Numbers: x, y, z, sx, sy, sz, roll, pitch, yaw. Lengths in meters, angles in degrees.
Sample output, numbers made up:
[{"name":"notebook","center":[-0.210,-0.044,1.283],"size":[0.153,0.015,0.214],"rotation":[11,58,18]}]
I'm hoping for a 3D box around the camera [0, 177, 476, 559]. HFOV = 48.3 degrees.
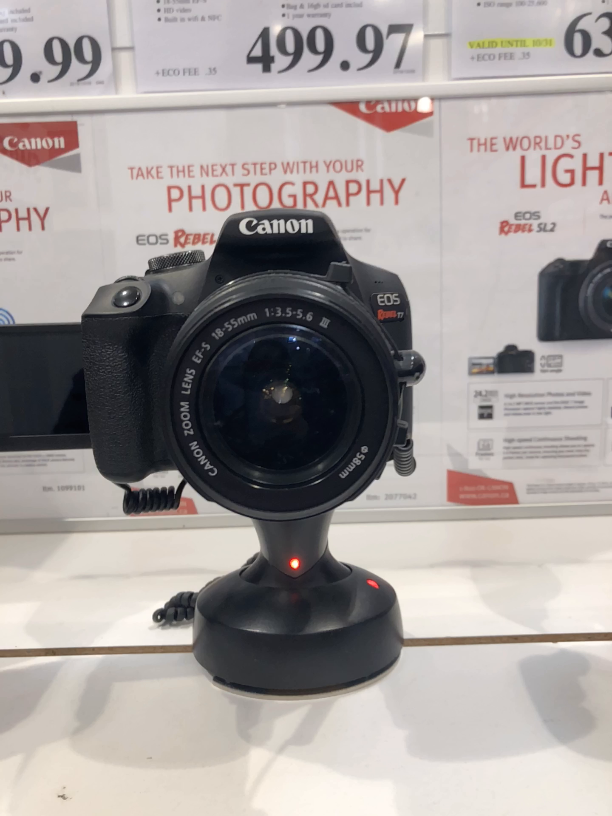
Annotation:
[{"name":"camera","center":[-0.020,-0.020,0.245],"size":[0.130,0.100,0.120],"rotation":[-2,10,-1]}]
